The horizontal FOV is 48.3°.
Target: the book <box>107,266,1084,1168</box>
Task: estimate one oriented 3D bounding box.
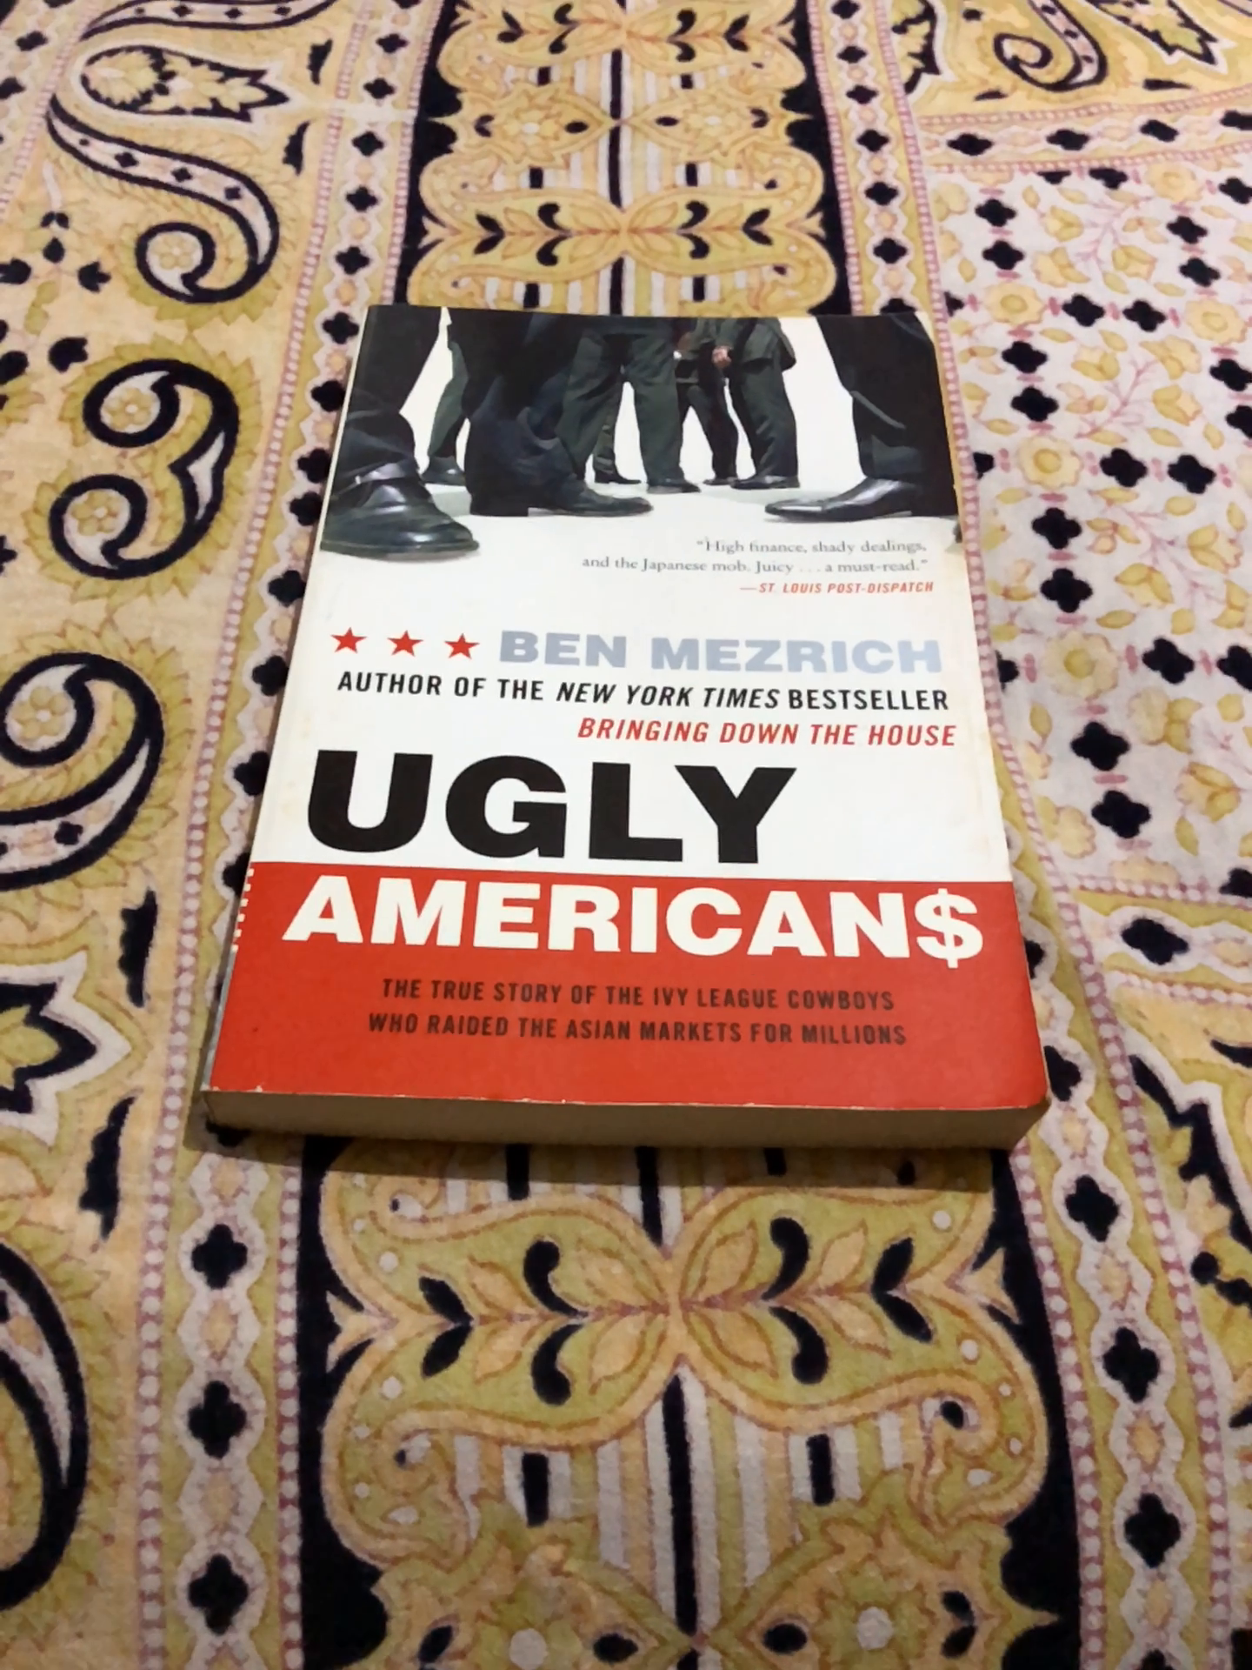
[{"bbox_3d":[-0.003,-0.035,0.265,0.140,0.030,0.190,1,57,1],"label":"book"}]
